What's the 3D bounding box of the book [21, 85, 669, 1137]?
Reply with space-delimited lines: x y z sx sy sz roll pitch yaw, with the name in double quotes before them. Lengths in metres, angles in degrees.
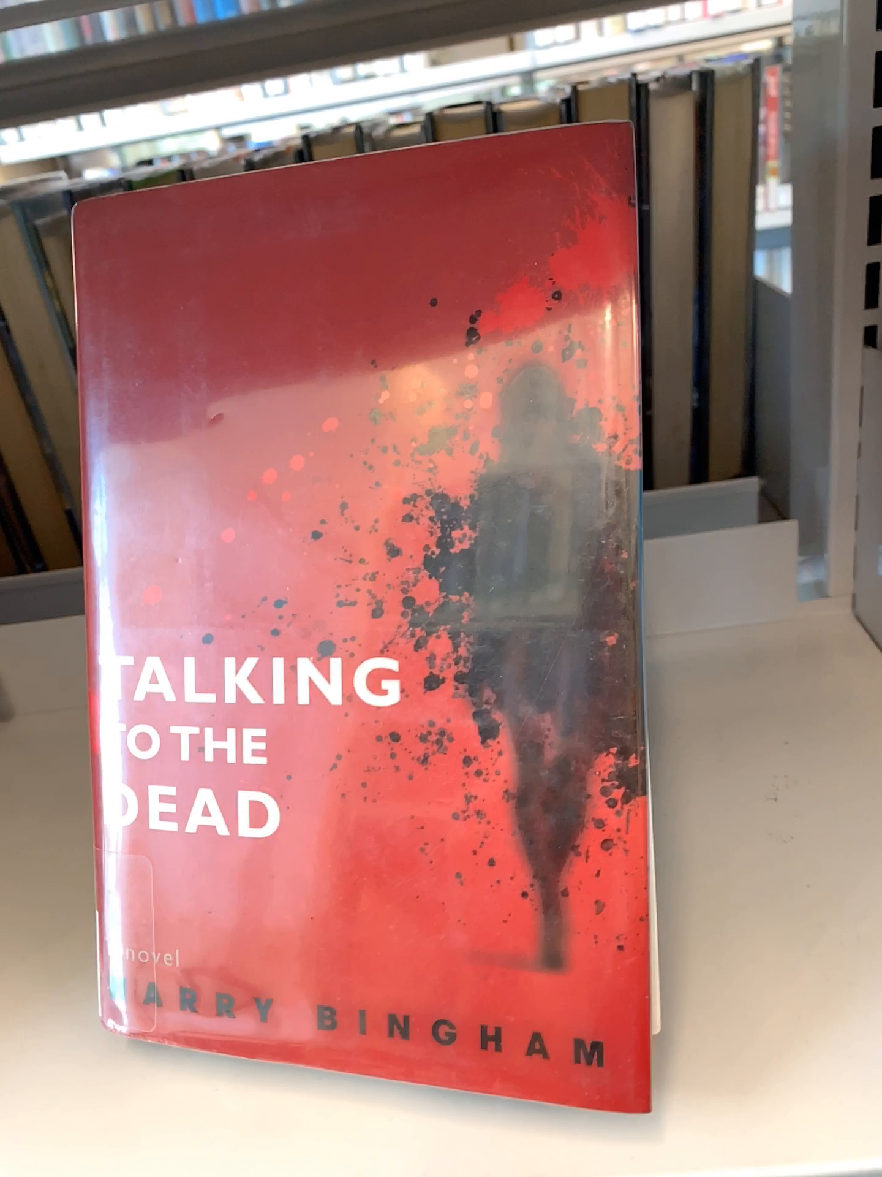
"book" -0.028 0.006 0.246 0.164 0.231 0.040 -1 0 18
